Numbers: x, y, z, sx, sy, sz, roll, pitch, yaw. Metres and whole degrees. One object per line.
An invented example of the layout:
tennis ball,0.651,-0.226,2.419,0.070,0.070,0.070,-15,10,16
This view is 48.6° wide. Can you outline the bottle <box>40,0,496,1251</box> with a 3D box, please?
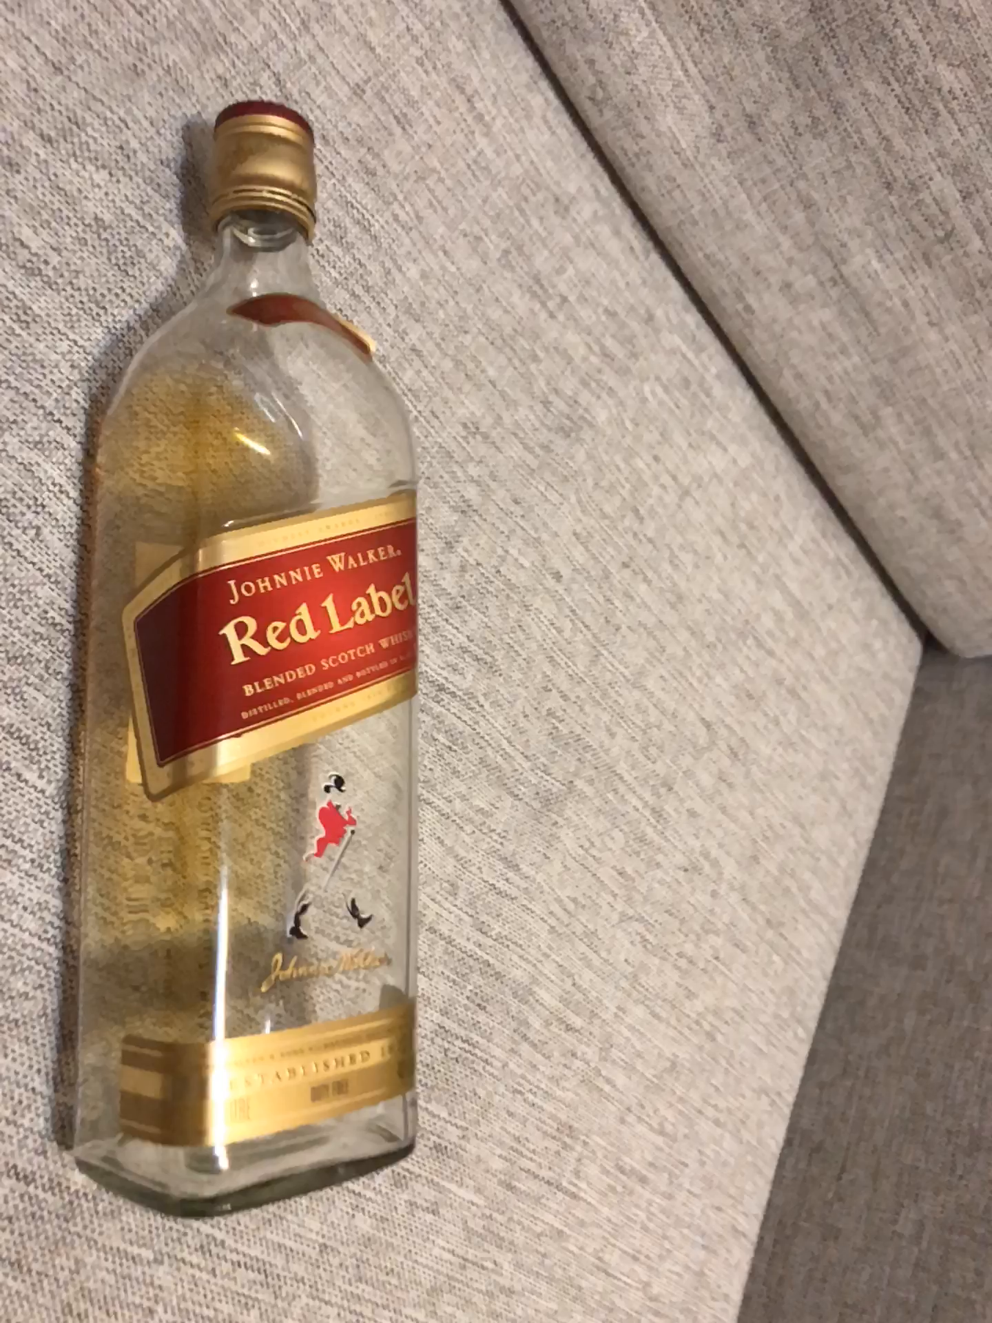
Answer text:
bottle,-0.059,-0.023,0.306,0.091,0.070,0.310,6,82,-45
